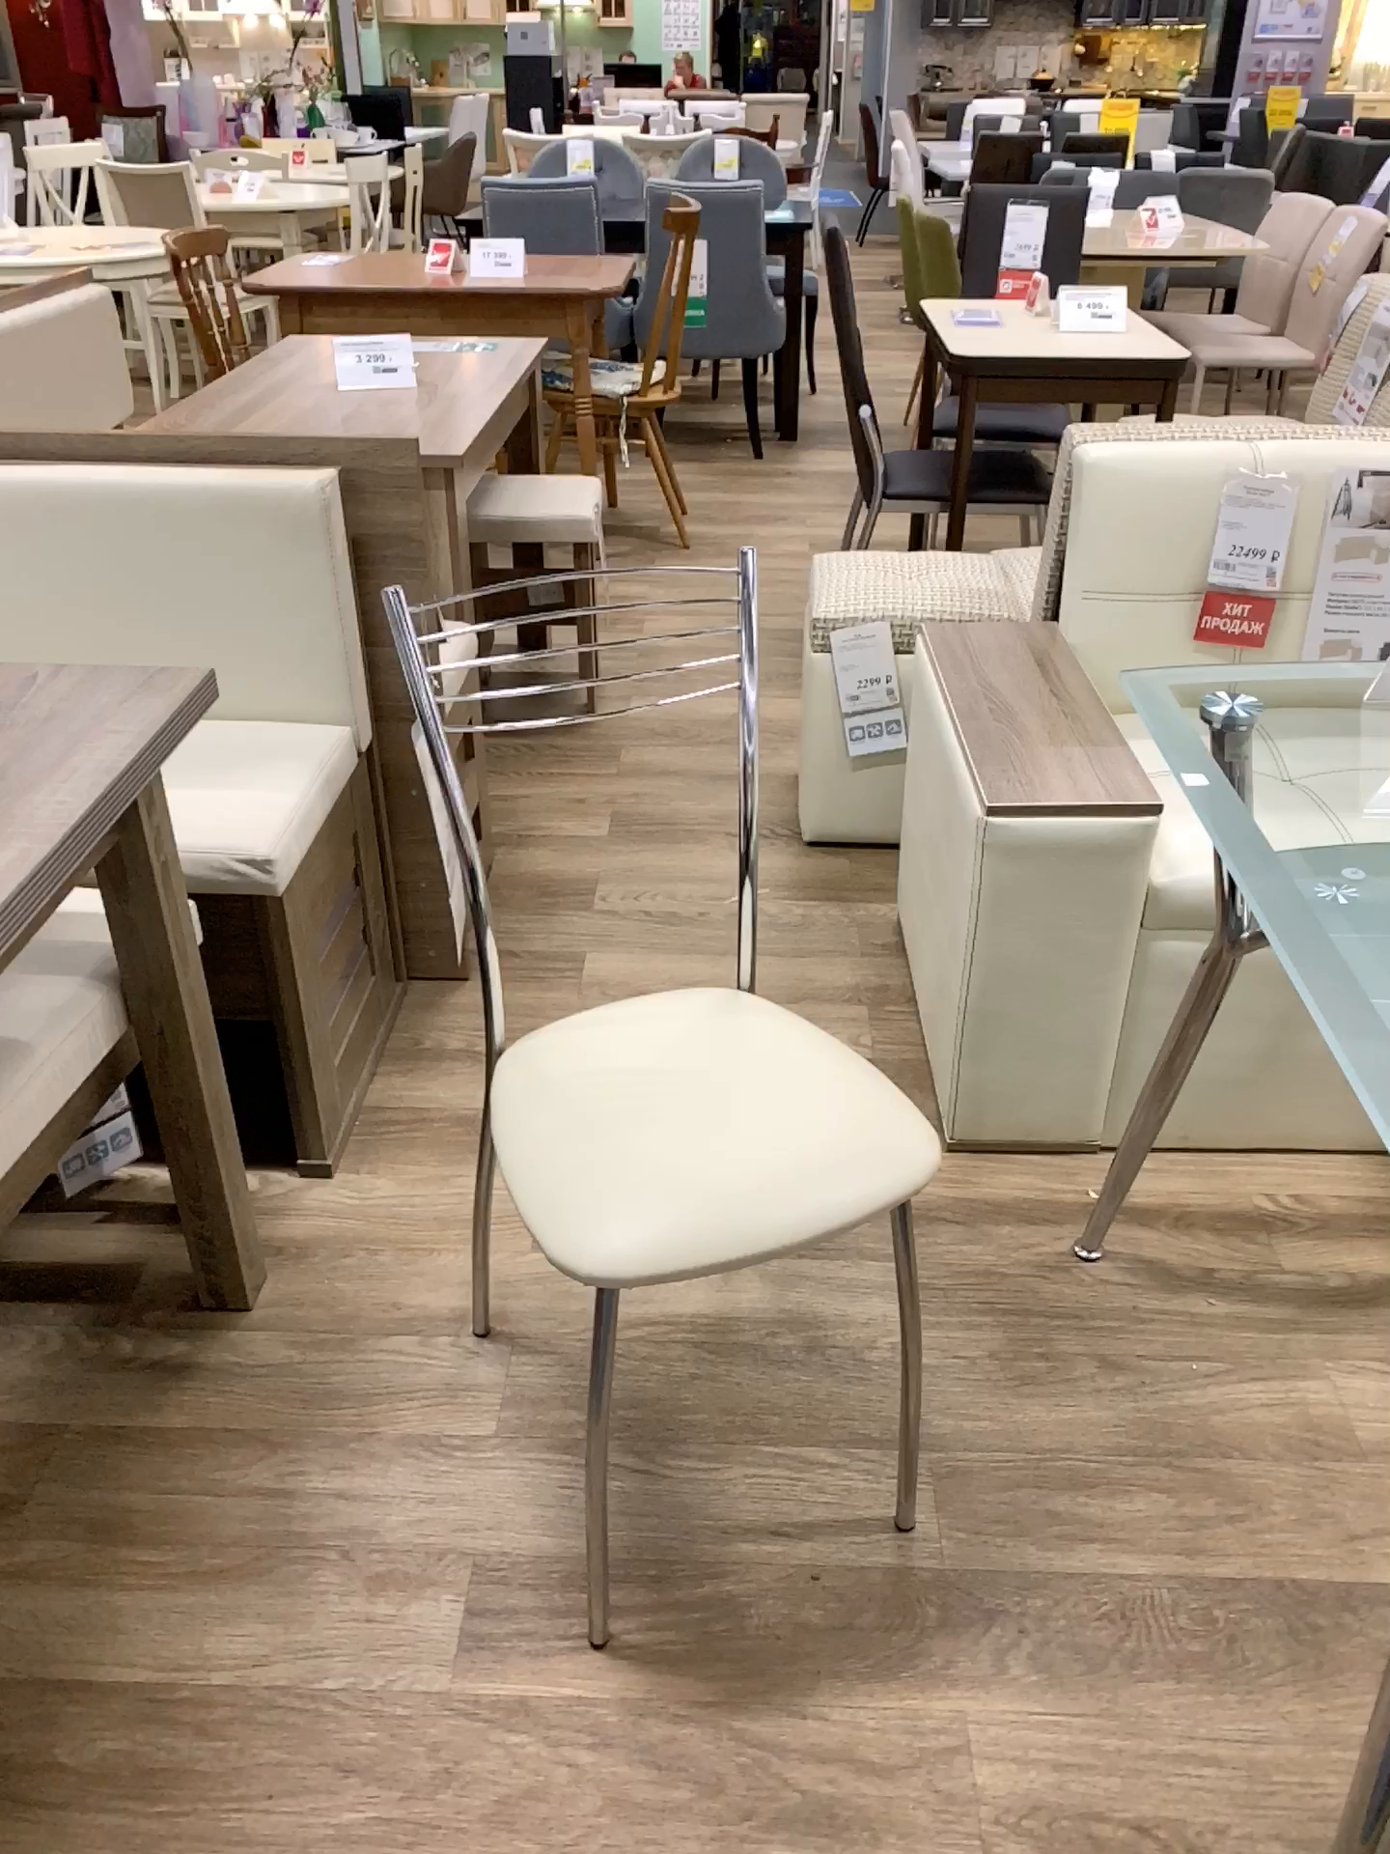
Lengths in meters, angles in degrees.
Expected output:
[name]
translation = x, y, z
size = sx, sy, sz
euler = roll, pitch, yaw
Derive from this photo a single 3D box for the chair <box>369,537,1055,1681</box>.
[chair]
translation = -0.018, 0.179, 1.418
size = 0.413, 0.967, 0.482
euler = -11, 33, -19
